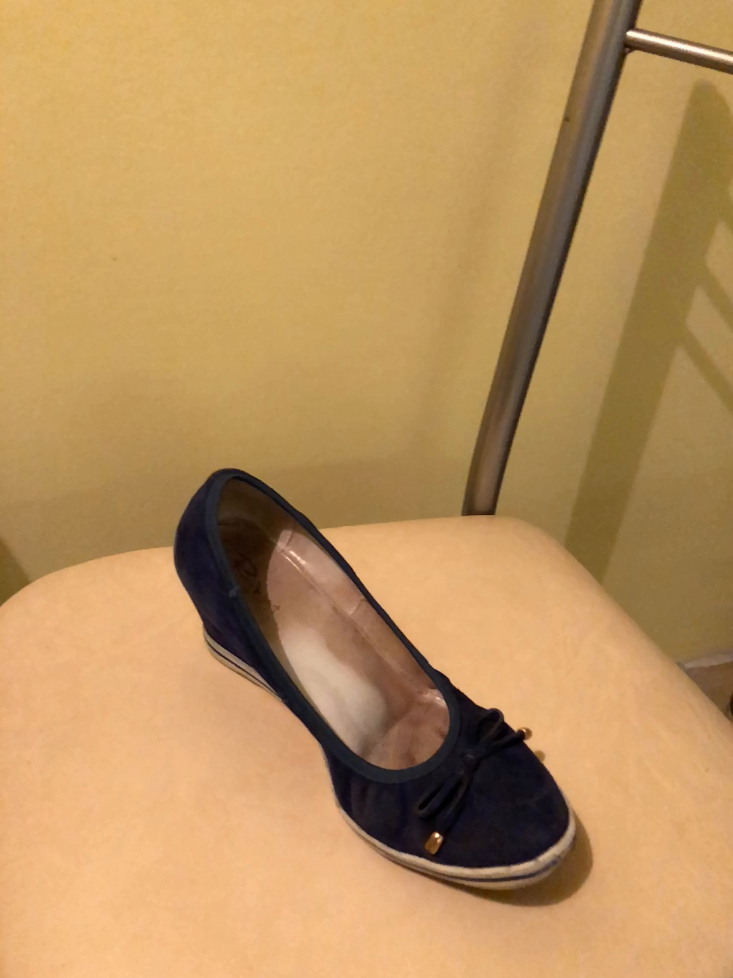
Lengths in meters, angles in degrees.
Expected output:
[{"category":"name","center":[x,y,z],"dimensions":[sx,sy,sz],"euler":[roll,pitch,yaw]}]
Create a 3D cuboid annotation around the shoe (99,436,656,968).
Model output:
[{"category":"shoe","center":[-0.009,0.084,0.390],"dimensions":[0.251,0.099,0.090],"euler":[30,45,29]}]
